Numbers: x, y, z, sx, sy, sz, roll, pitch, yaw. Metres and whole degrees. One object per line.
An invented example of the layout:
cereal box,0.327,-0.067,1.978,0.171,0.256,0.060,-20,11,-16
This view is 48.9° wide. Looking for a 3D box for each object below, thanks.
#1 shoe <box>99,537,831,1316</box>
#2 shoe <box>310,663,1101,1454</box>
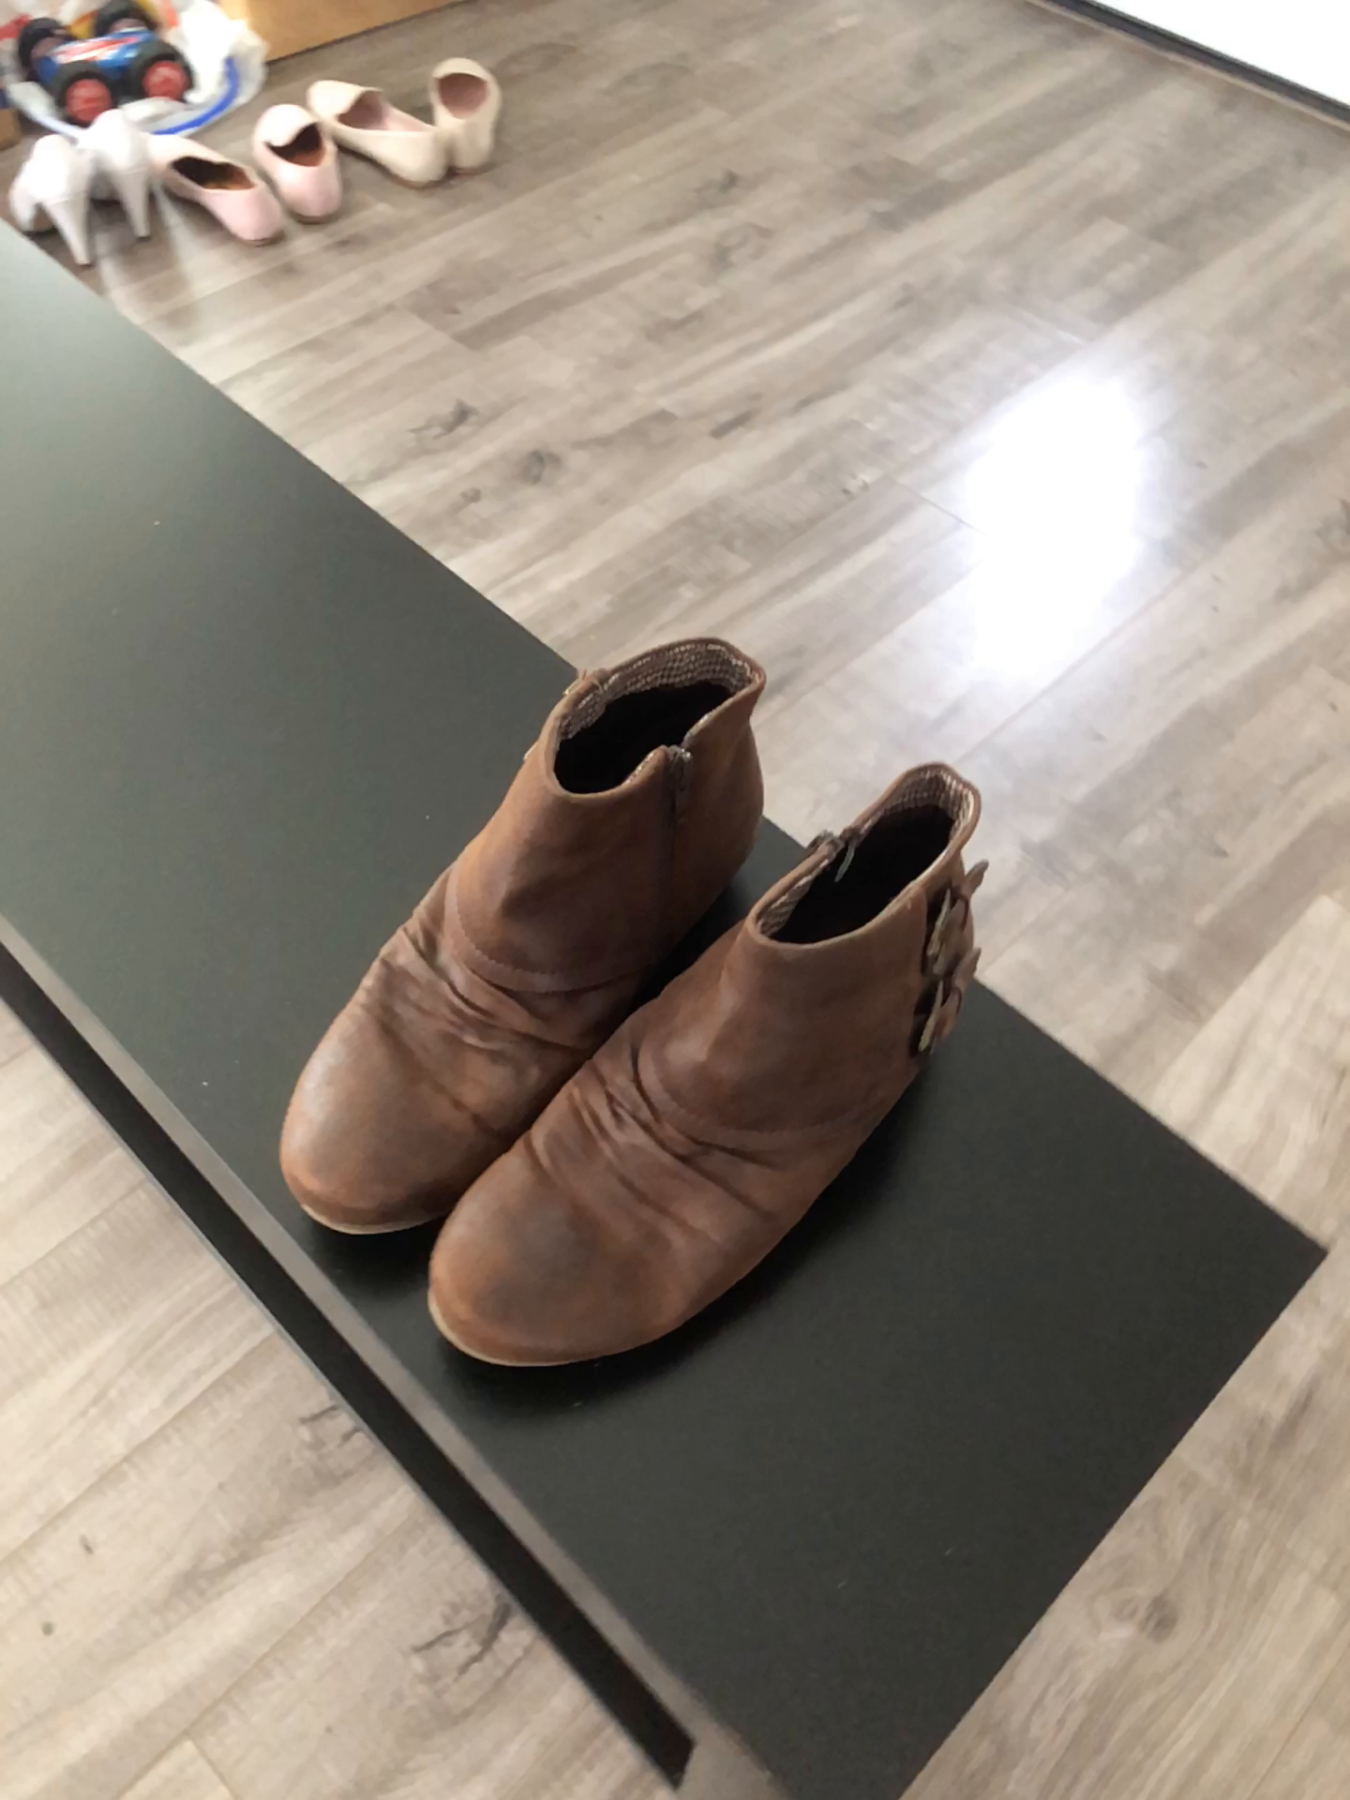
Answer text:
shoe,-0.058,0.003,0.519,0.090,0.130,0.240,33,57,20
shoe,0.016,0.043,0.478,0.240,0.110,0.090,-37,63,-28
